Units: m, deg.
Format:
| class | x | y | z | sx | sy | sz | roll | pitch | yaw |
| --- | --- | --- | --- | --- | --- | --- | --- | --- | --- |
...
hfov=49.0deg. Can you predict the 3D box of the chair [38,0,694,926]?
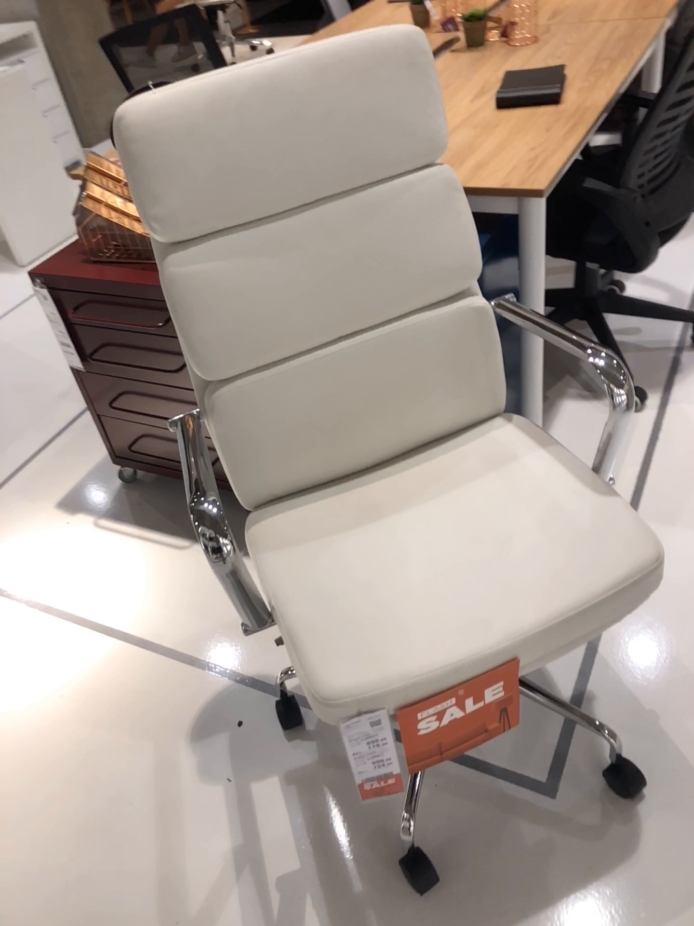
| class | x | y | z | sx | sy | sz | roll | pitch | yaw |
| --- | --- | --- | --- | --- | --- | --- | --- | --- | --- |
| chair | 0.127 | 0.017 | 1.056 | 0.661 | 1.012 | 0.655 | -21 | 40 | -11 |
